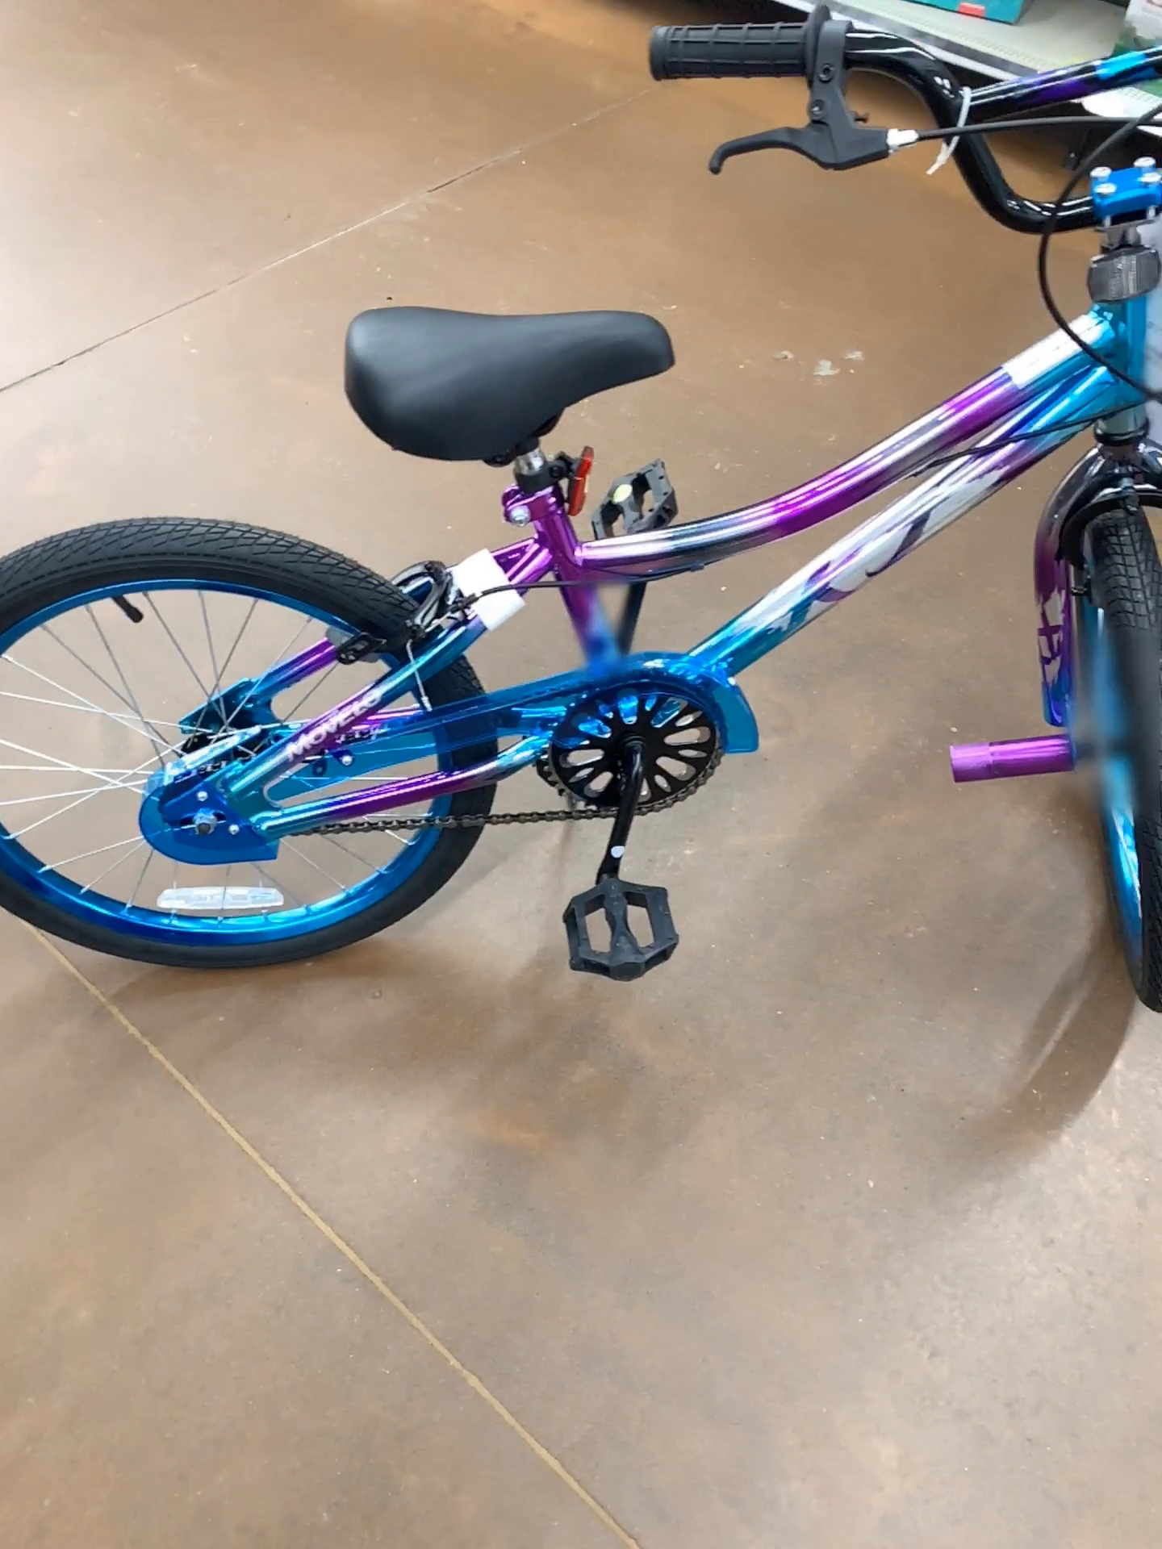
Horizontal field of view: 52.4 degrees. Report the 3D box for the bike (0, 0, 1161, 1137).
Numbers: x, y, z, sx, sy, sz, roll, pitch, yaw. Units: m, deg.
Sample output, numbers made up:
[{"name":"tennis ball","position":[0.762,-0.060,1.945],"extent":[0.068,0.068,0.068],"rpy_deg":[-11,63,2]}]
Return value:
[{"name":"bike","position":[-0.088,-0.226,0.887],"extent":[0.934,0.932,0.580],"rpy_deg":[-2,52,-6]}]
